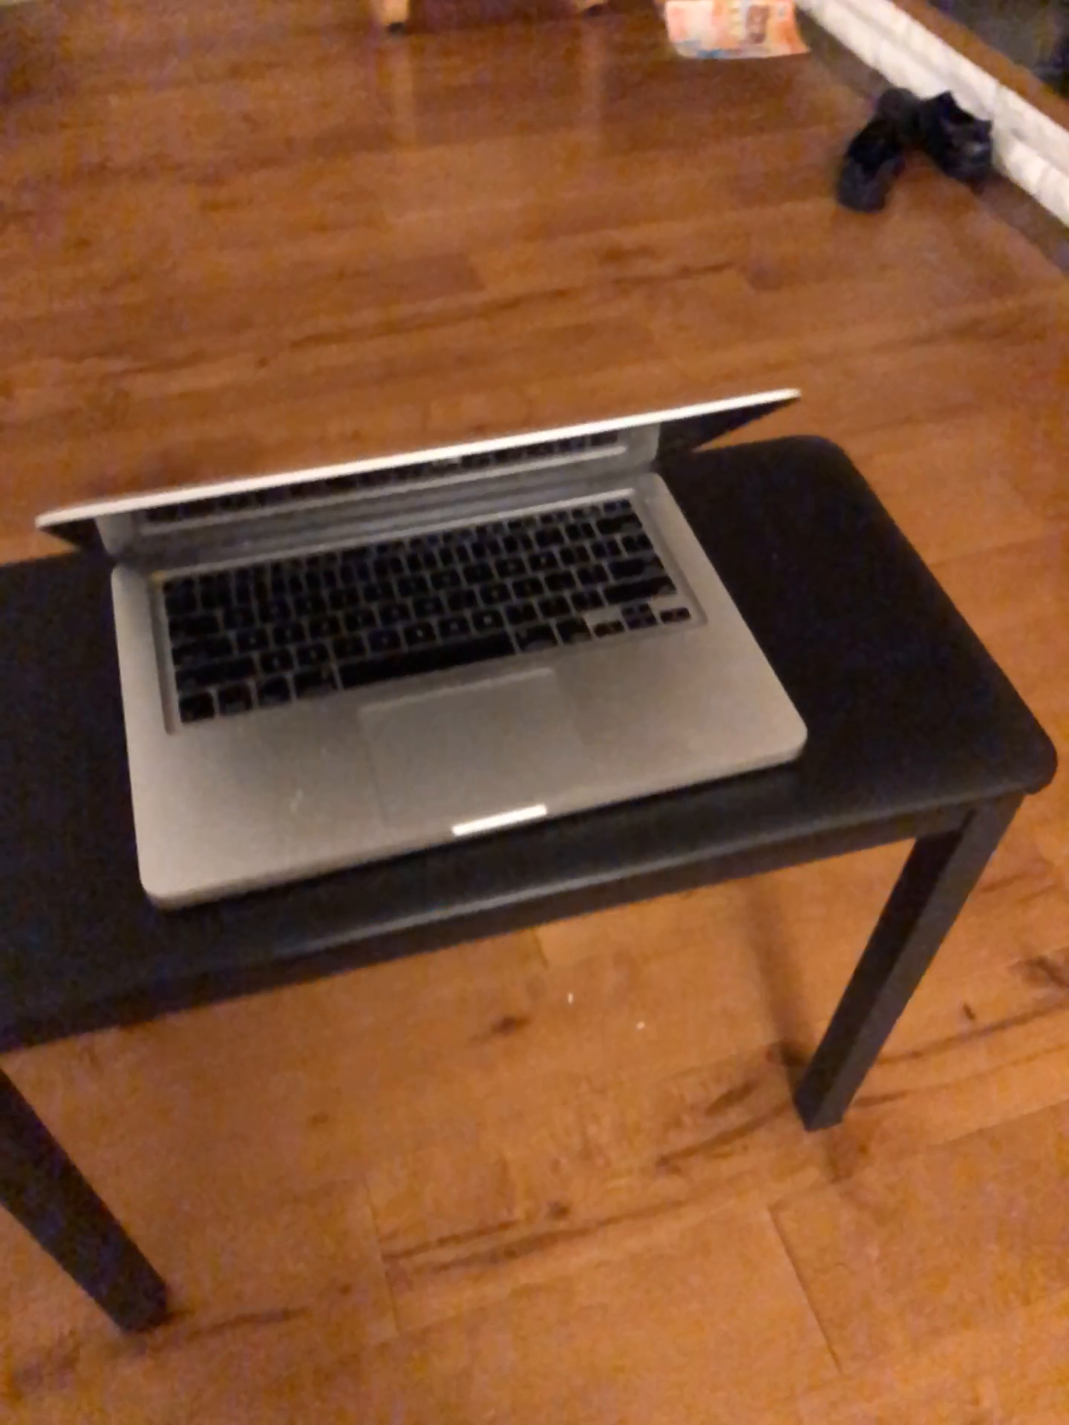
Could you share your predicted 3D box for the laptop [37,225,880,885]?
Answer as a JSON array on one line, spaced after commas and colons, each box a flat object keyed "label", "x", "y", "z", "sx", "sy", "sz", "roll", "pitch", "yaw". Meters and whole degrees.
[{"label": "laptop", "x": -0.049, "y": -0.081, "z": 0.548, "sx": 0.309, "sy": 0.144, "sz": 0.209, "roll": -13, "pitch": 51, "yaw": -8}]
